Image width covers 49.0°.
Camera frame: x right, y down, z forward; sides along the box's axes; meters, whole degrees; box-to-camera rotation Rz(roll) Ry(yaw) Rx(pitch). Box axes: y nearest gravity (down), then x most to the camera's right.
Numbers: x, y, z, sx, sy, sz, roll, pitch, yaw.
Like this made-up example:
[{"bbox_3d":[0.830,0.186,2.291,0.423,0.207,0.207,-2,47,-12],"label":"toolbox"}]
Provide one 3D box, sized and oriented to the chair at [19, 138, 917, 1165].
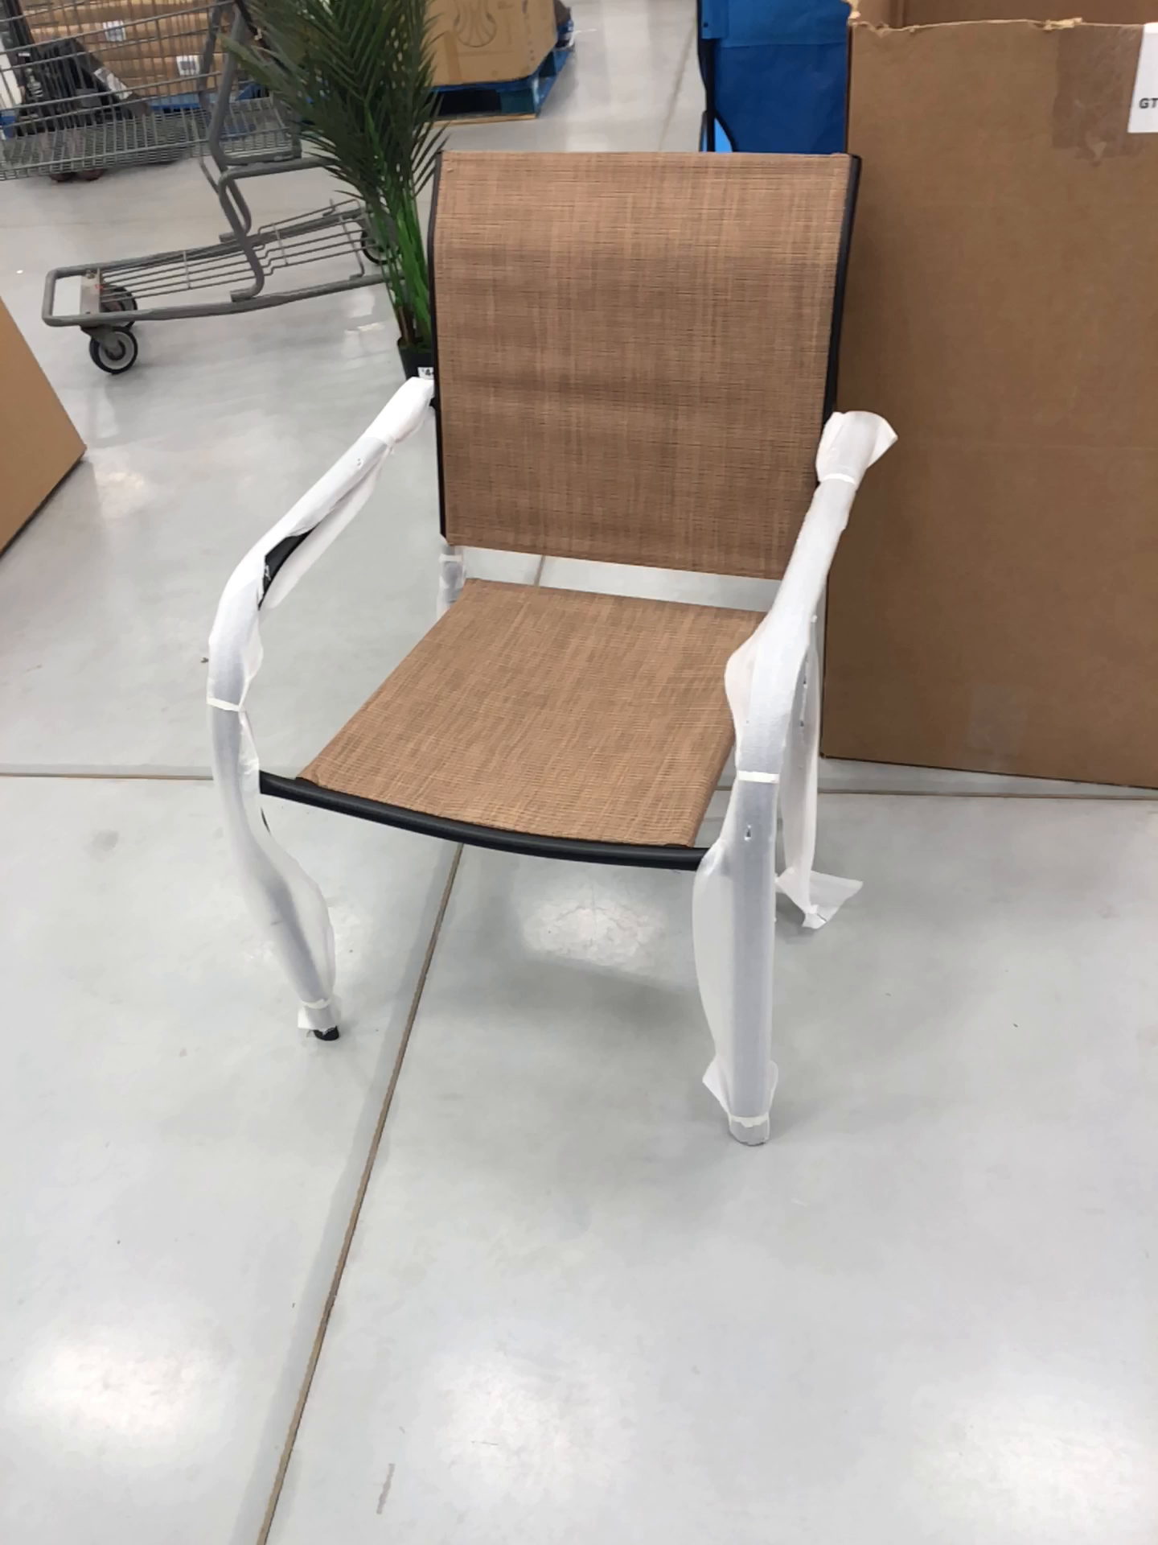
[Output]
[{"bbox_3d":[-0.014,-0.147,1.432,0.620,0.876,0.632,9,43,18],"label":"chair"}]
